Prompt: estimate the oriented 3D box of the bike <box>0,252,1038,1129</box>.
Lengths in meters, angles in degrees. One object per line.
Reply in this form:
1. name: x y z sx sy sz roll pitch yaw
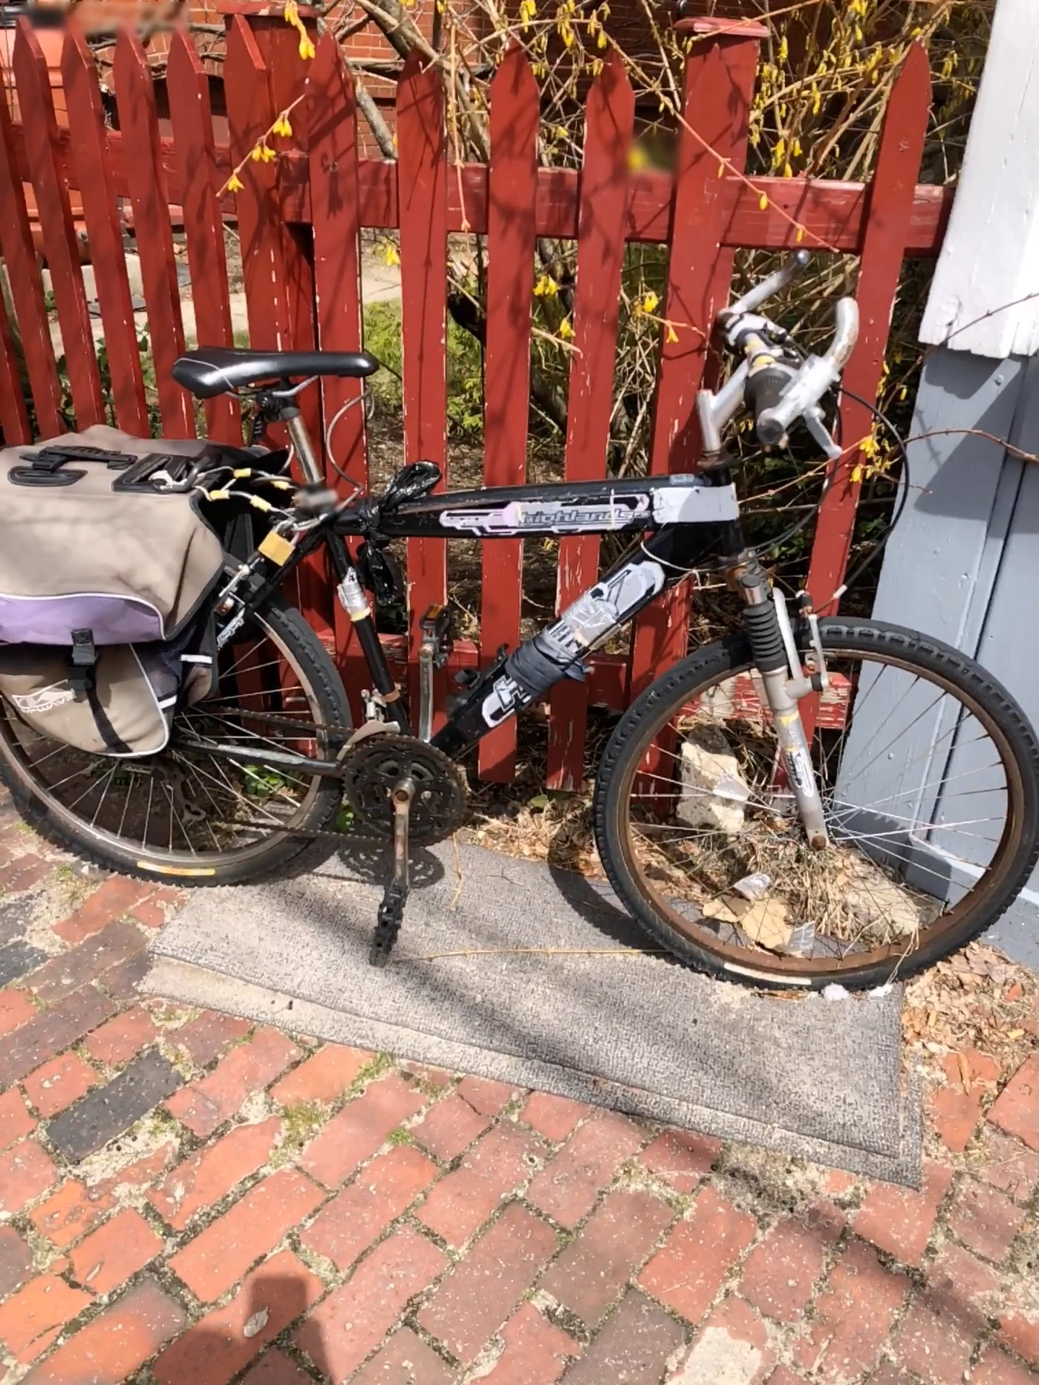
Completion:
1. bike: -0.074 -0.067 1.731 1.723 1.000 0.676 5 29 7
